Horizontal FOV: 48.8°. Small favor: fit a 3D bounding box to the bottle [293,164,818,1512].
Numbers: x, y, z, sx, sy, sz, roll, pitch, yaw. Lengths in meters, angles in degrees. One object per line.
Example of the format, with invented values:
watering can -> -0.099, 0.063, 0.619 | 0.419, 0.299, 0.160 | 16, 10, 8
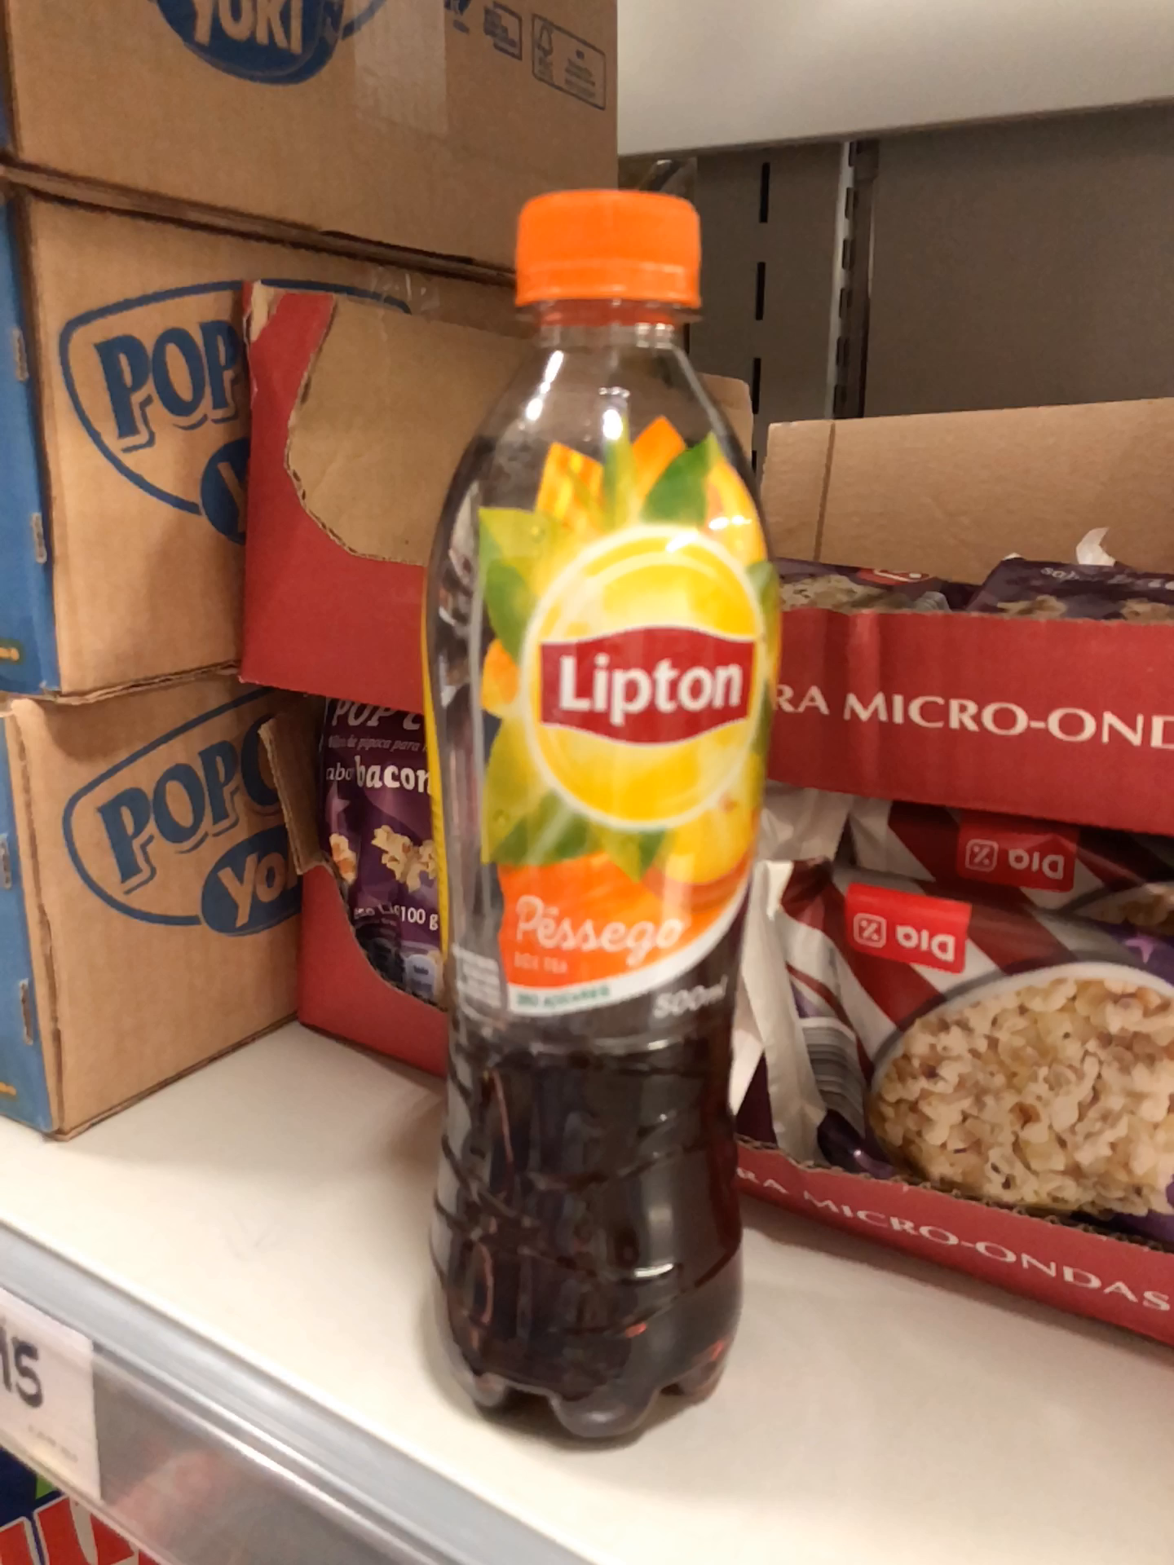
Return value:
bottle -> -0.009, 0.012, 0.240 | 0.070, 0.219, 0.070 | 0, 17, 0
